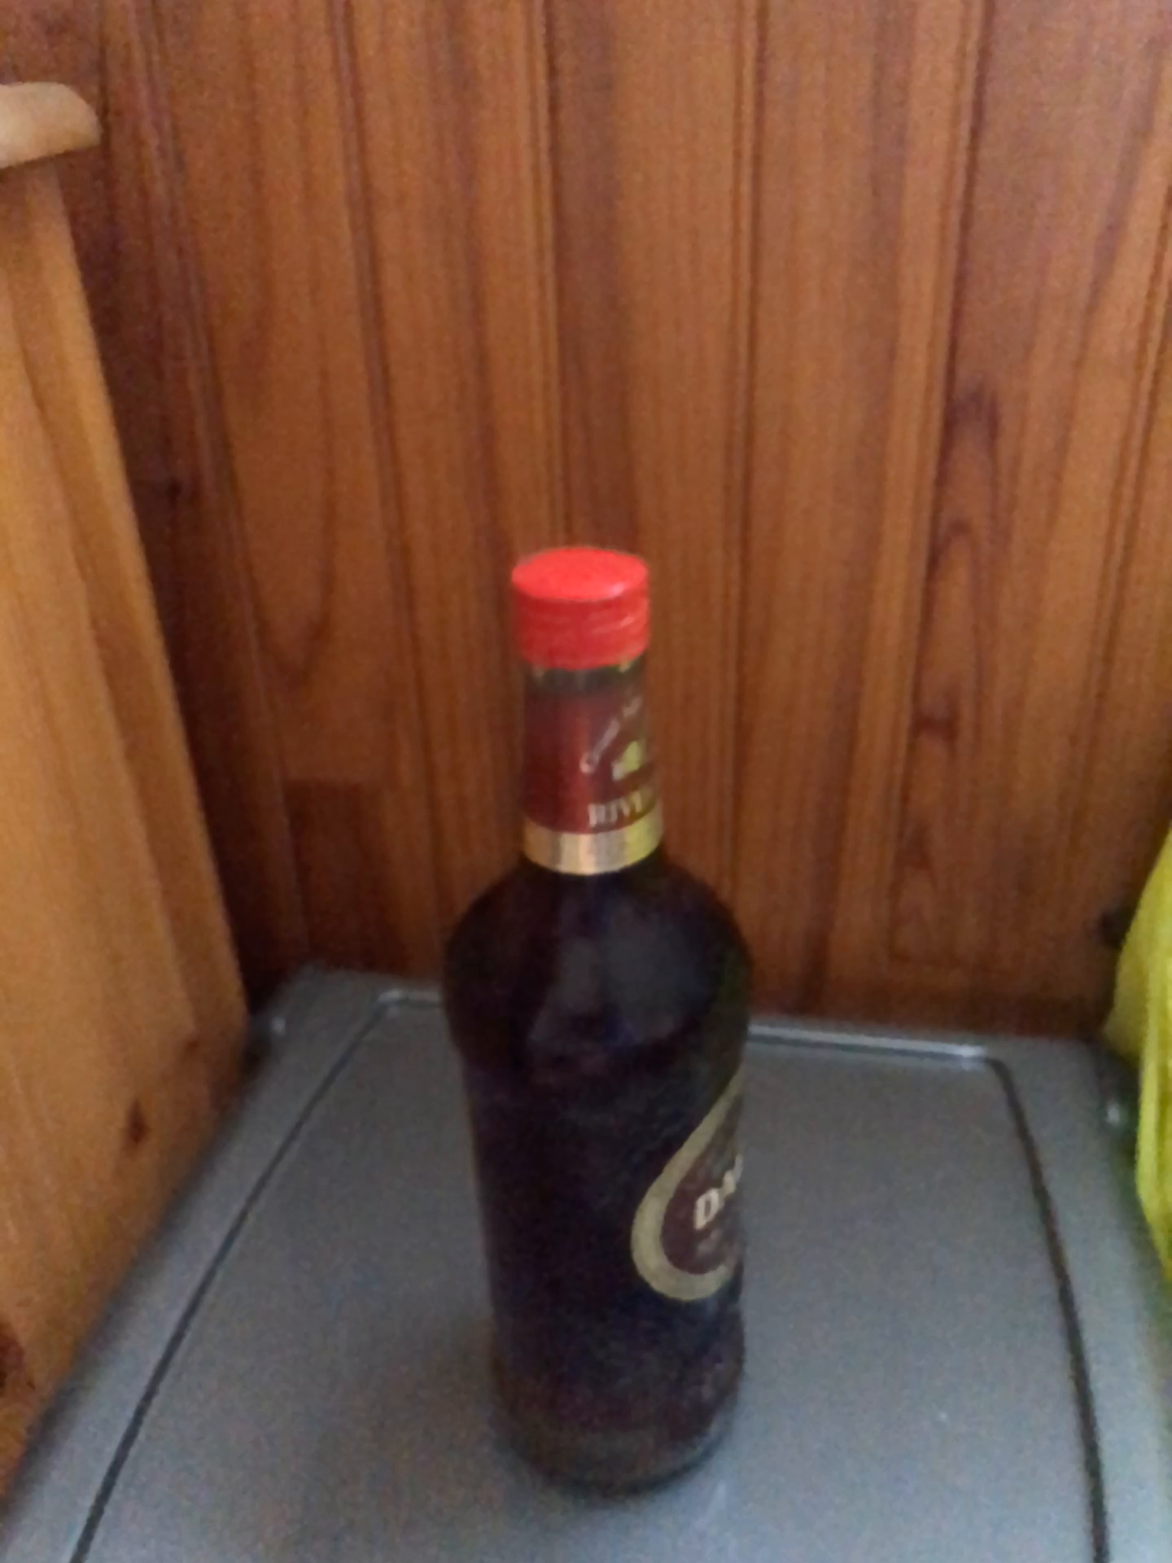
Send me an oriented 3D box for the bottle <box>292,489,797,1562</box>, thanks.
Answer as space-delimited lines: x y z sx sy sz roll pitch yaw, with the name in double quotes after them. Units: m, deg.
0.001 0.080 0.372 0.090 0.298 0.091 -2 30 1 "bottle"
